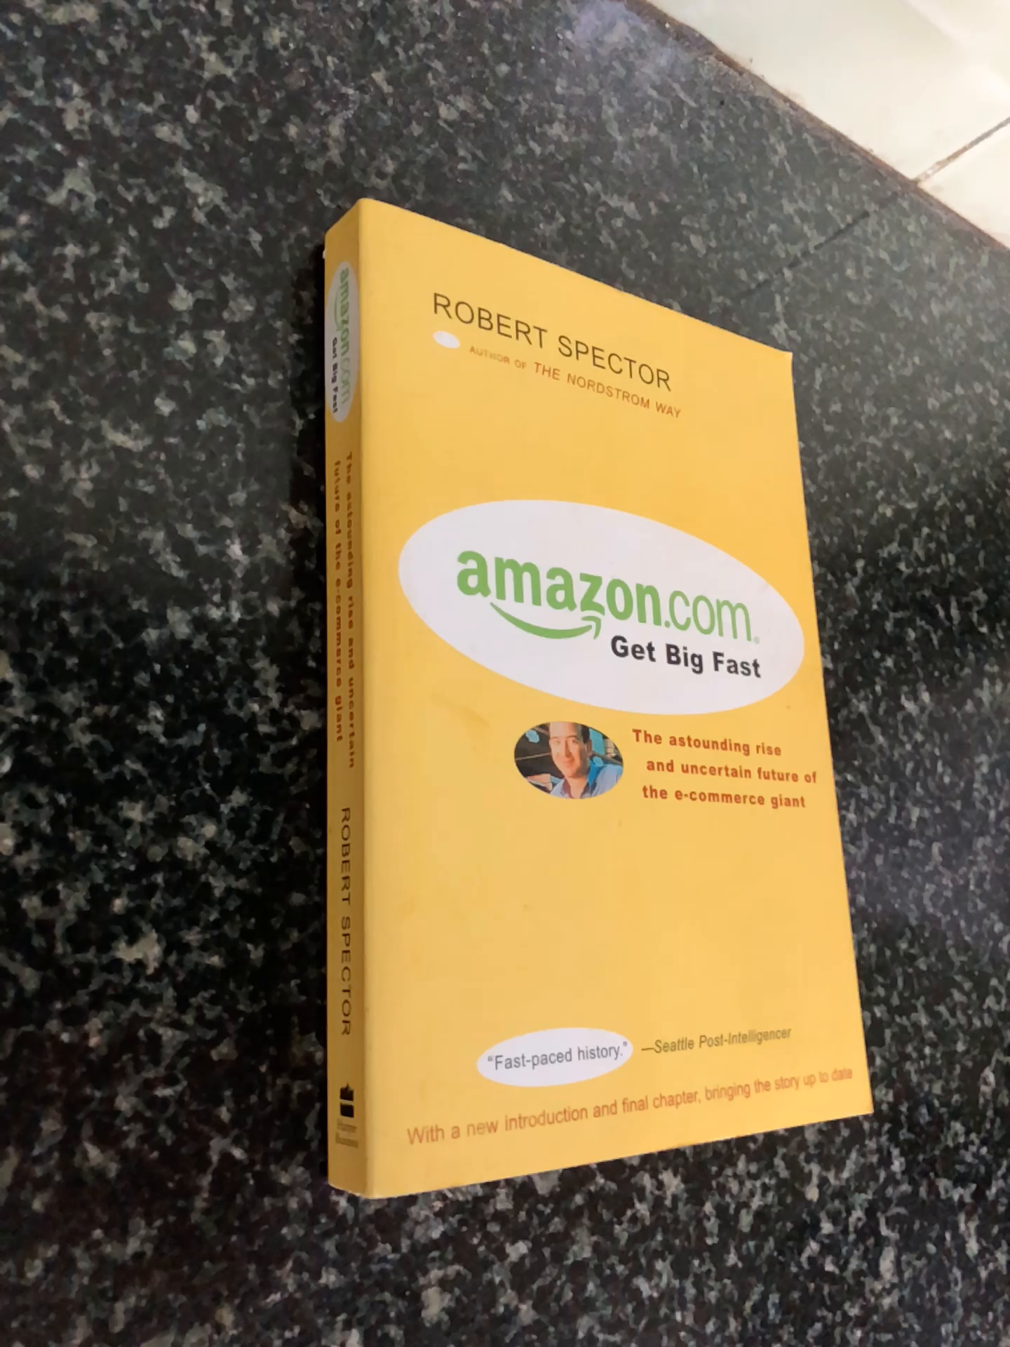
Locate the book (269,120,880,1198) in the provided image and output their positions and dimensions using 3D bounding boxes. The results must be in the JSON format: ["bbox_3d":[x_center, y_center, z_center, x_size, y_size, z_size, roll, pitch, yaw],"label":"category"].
[{"bbox_3d":[0.018,-0.004,0.264,0.141,0.030,0.210,8,72,-34],"label":"book"}]
